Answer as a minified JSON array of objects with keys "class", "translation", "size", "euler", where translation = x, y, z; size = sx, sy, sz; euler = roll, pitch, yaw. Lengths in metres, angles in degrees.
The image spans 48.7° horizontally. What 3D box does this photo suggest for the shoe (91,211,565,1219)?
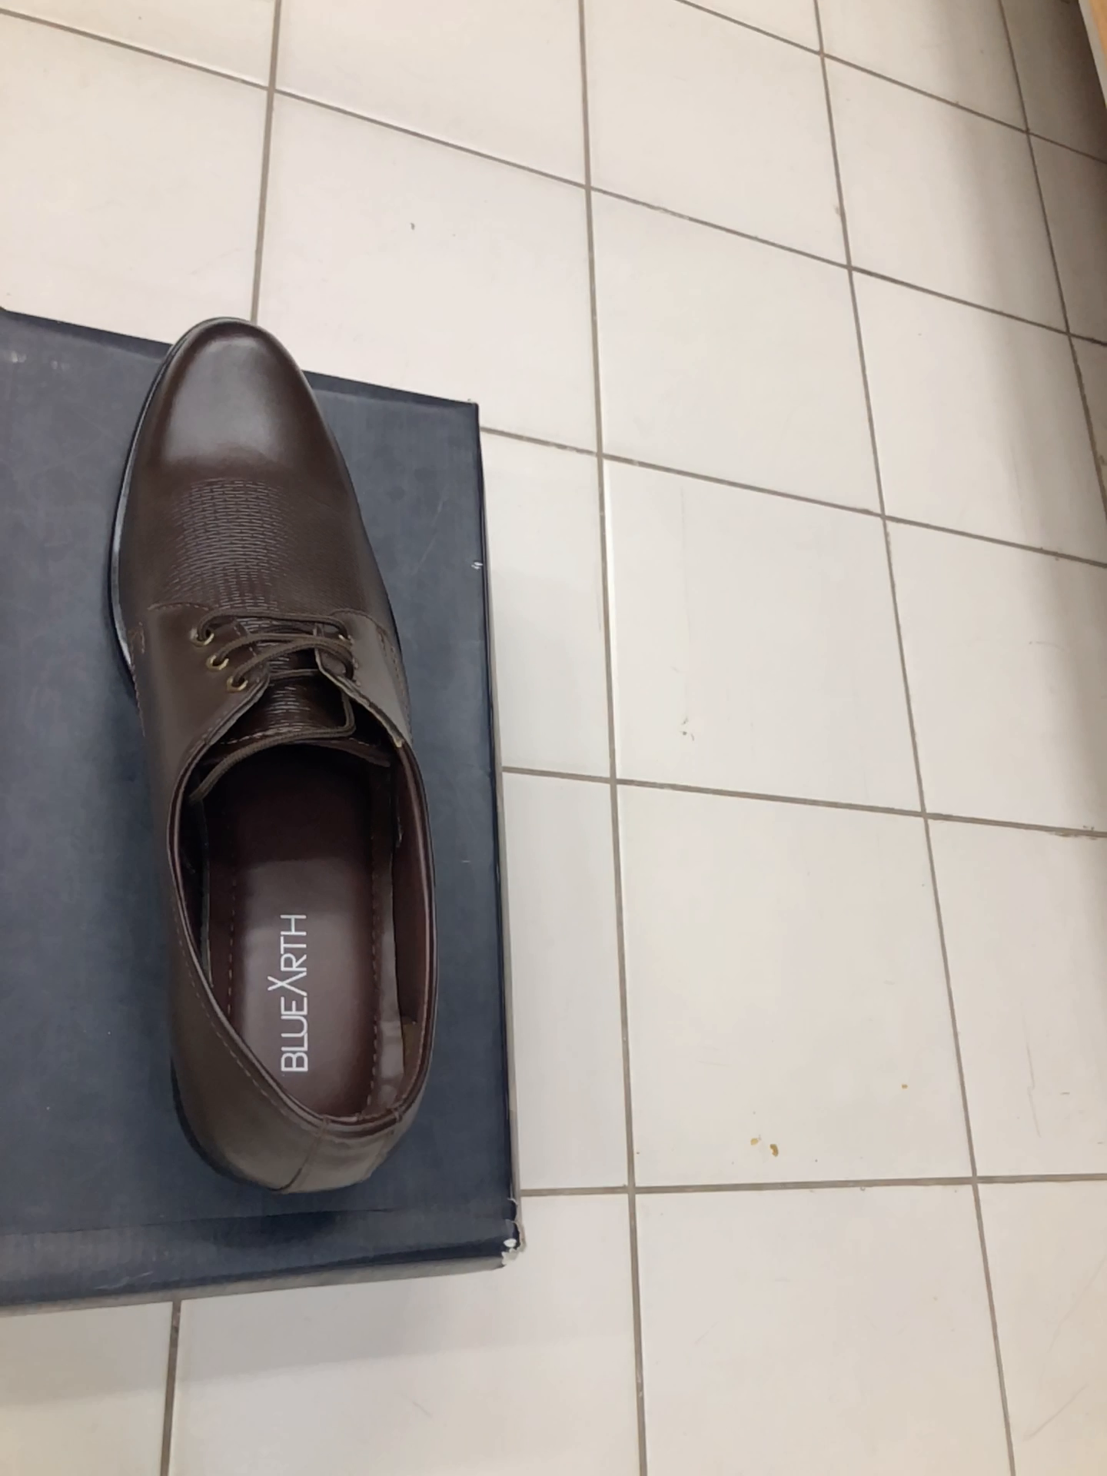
[{"class":"shoe","translation":[-0.087,-0.007,0.400],"size":[0.104,0.109,0.291],"euler":[0,71,-25]}]
